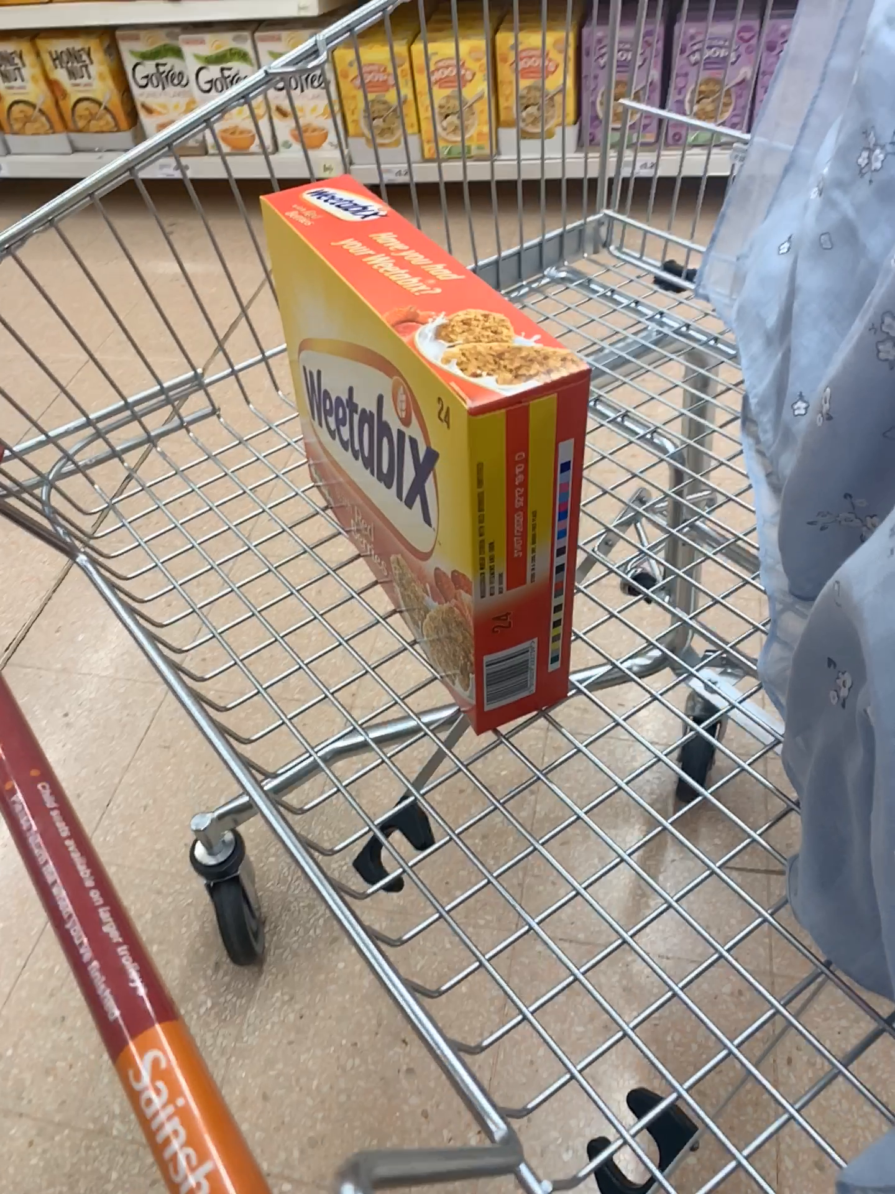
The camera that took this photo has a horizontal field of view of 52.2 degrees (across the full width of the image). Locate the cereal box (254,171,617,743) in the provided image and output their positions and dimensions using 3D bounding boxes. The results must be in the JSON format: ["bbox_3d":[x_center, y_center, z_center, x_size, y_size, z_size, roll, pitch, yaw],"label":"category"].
[{"bbox_3d":[-0.017,-0.084,0.489,0.060,0.188,0.262,-20,47,-17],"label":"cereal box"}]
